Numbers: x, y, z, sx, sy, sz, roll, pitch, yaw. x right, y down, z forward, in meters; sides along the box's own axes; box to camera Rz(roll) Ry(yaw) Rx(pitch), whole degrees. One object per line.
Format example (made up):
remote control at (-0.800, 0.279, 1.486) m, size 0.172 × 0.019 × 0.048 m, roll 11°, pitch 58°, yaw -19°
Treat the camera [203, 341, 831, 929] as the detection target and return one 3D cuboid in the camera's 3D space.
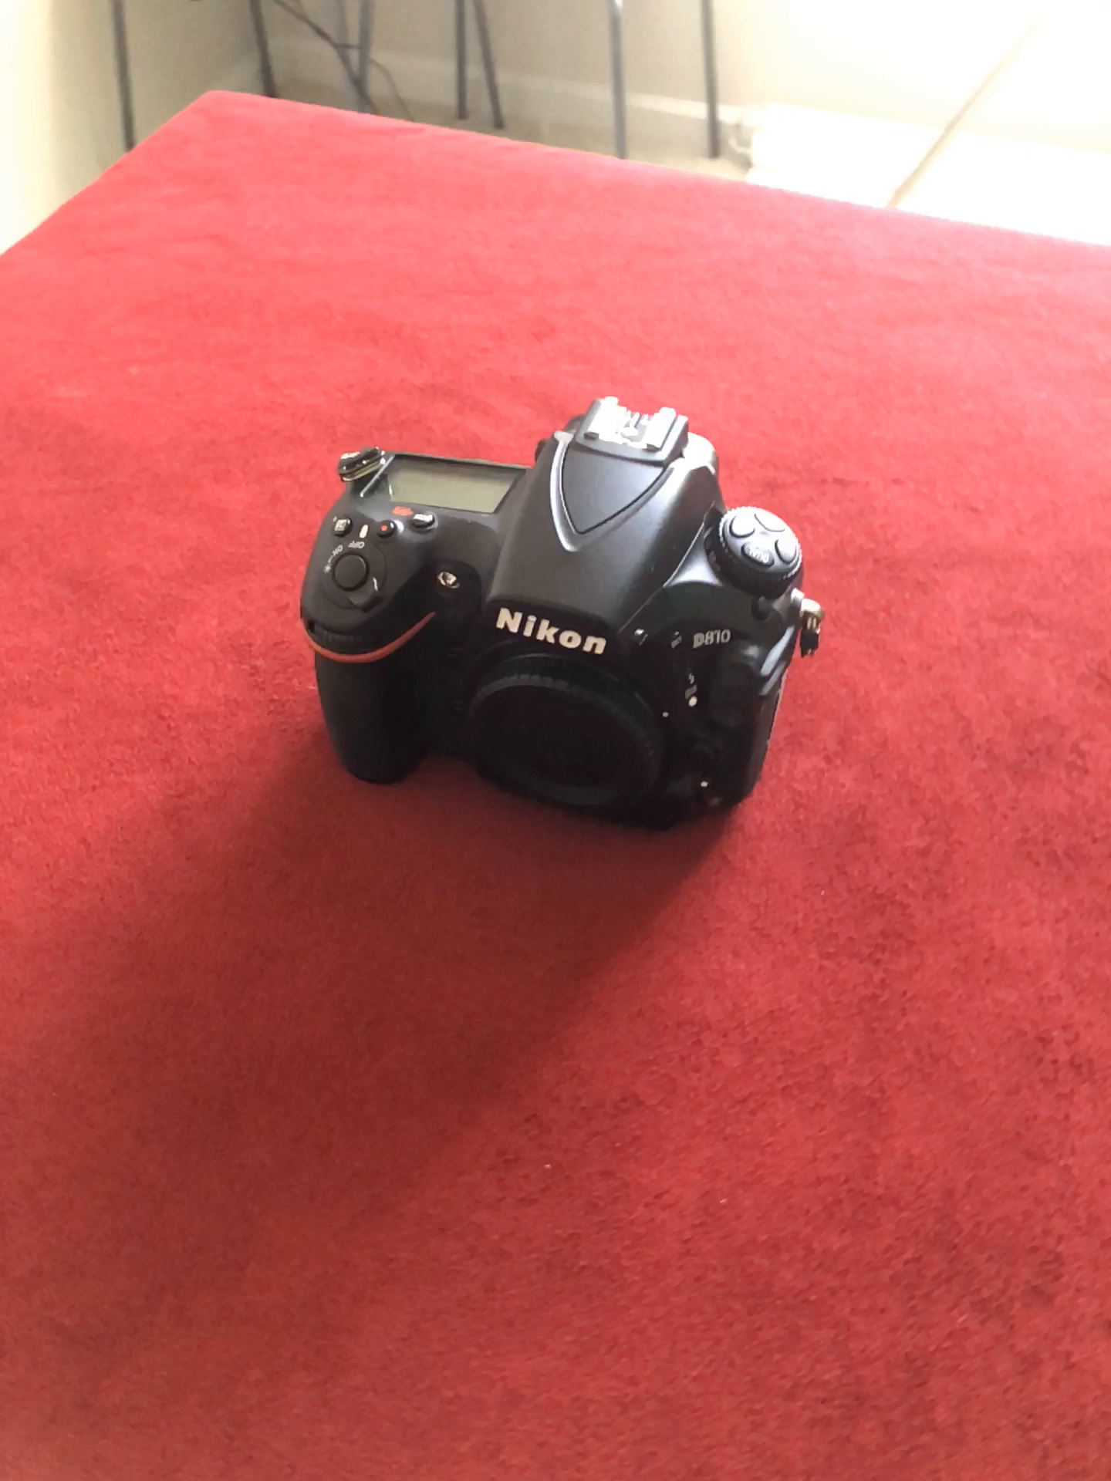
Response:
camera at (-0.007, -0.030, 0.373) m, size 0.145 × 0.129 × 0.083 m, roll 13°, pitch 52°, yaw 12°
